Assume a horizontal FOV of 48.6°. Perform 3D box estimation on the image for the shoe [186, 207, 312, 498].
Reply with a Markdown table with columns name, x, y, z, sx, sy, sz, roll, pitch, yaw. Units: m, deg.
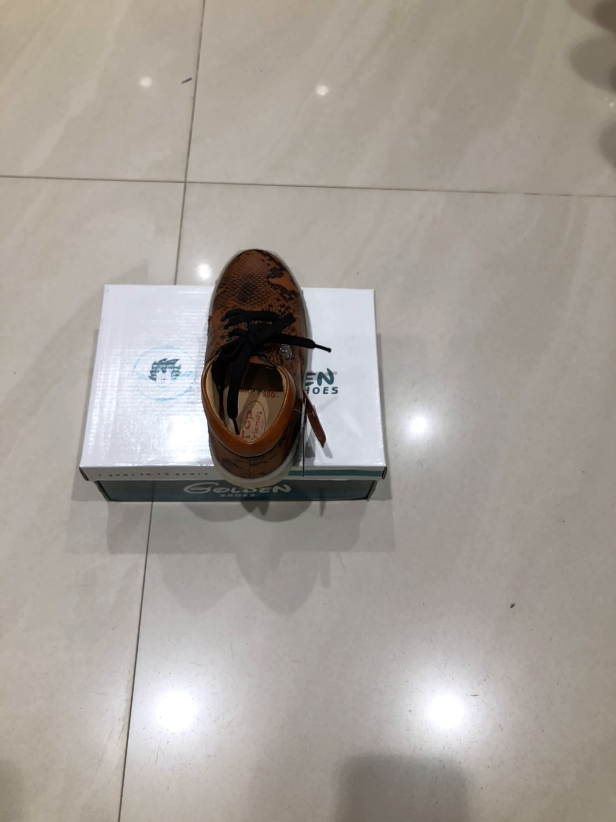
| name | x | y | z | sx | sy | sz | roll | pitch | yaw |
| --- | --- | --- | --- | --- | --- | --- | --- | --- | --- |
| shoe | -0.039 | -0.045 | 0.517 | 0.080 | 0.090 | 0.201 | 1 | 64 | -2 |
